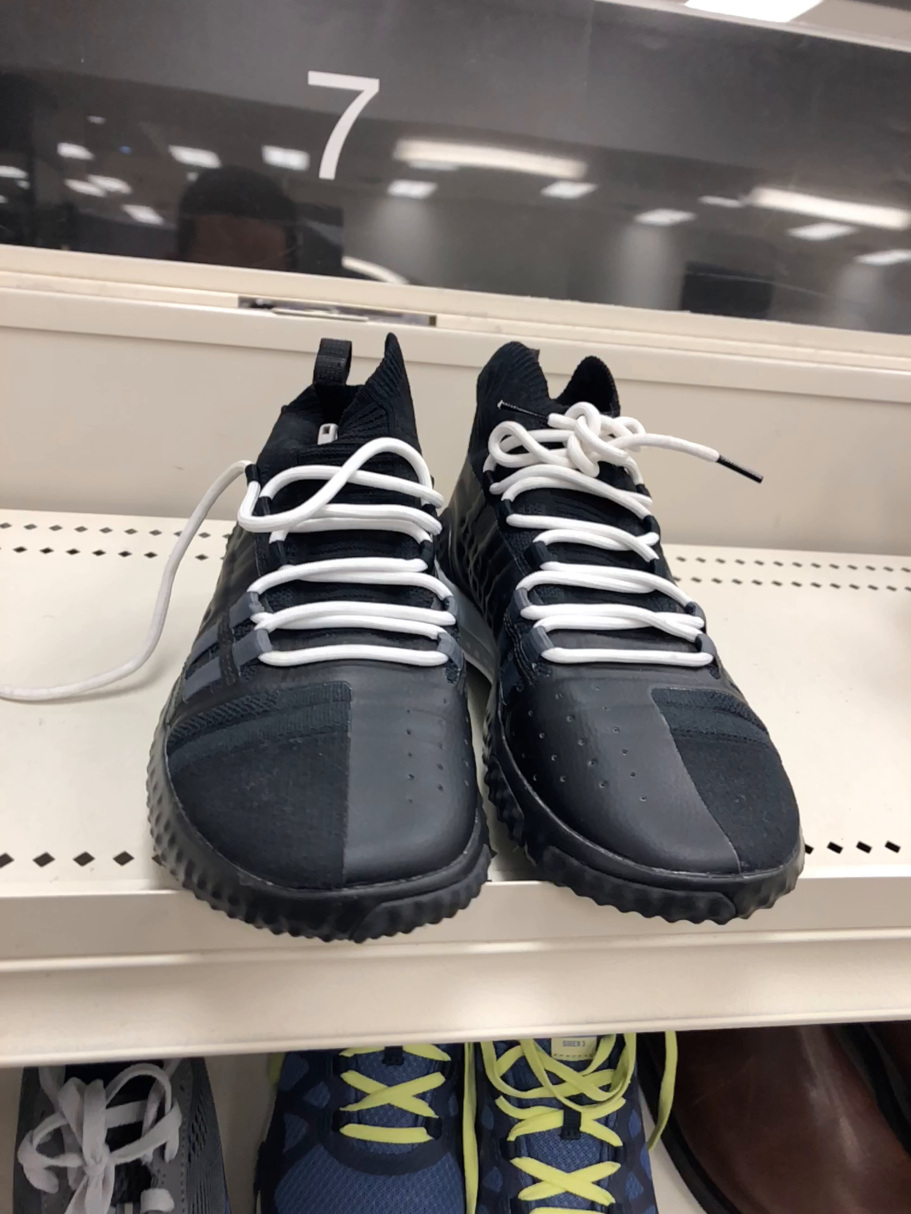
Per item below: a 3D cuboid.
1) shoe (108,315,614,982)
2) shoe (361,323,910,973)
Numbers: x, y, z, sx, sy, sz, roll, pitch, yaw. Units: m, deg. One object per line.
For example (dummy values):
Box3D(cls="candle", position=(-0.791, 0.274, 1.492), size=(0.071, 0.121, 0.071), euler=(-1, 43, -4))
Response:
Box3D(cls="shoe", position=(-0.057, -0.026, 0.423), size=(0.120, 0.136, 0.352), euler=(2, 22, -12))
Box3D(cls="shoe", position=(0.049, -0.025, 0.437), size=(0.120, 0.136, 0.352), euler=(1, 22, -15))
